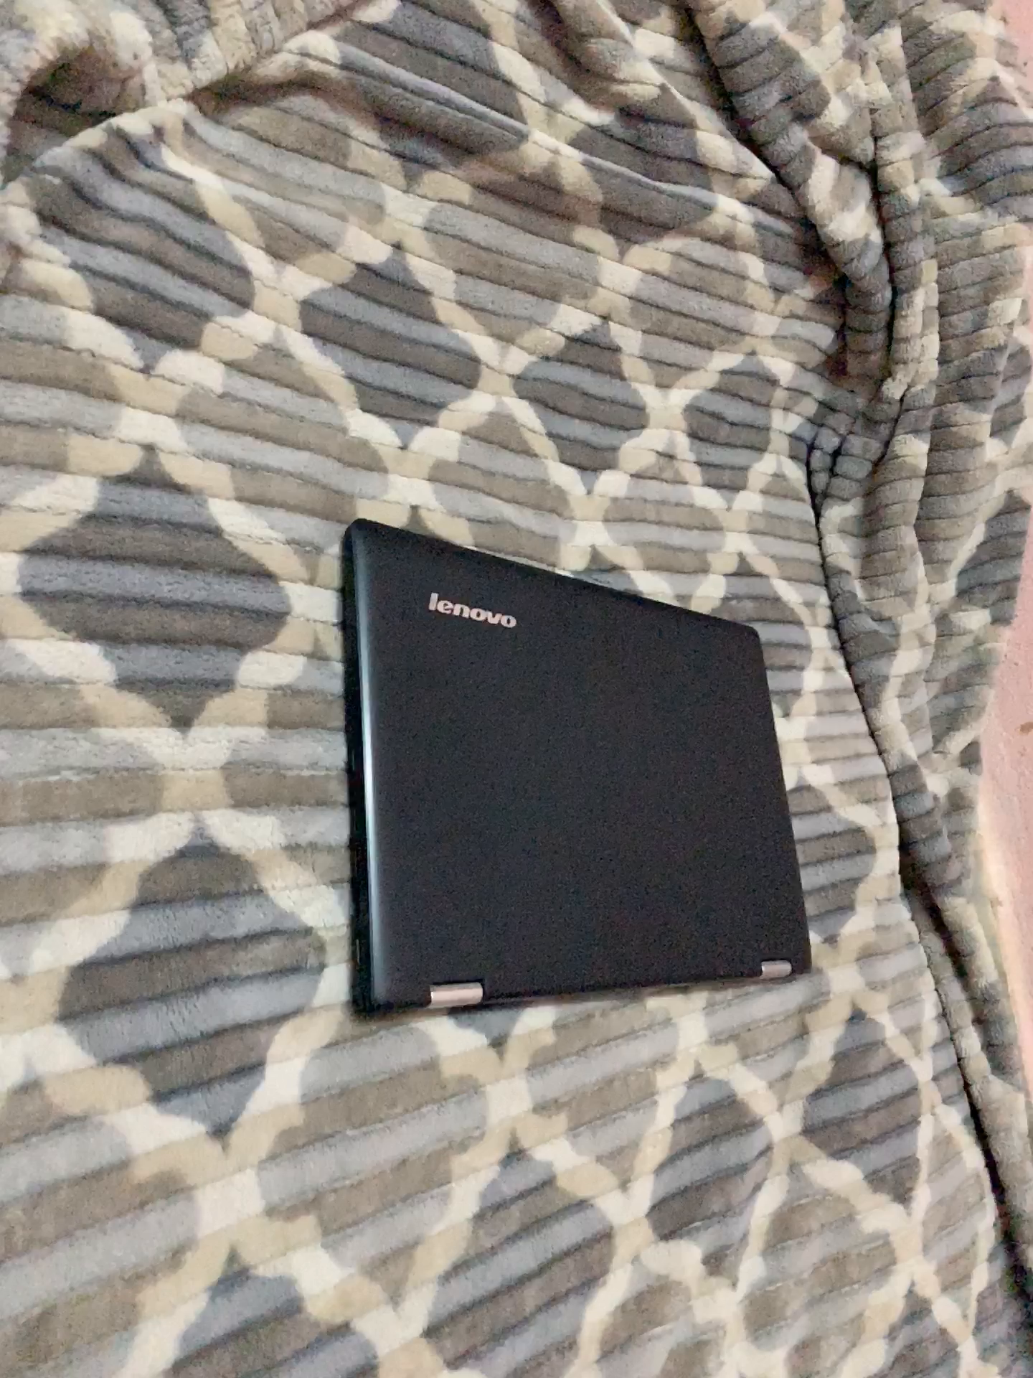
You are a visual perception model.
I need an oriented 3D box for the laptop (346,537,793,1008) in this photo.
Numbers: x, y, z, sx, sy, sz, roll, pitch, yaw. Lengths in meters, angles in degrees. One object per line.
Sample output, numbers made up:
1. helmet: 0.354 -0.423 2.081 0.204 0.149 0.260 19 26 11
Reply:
1. laptop: 0.048 0.054 0.612 0.340 0.003 0.228 10 68 -42
